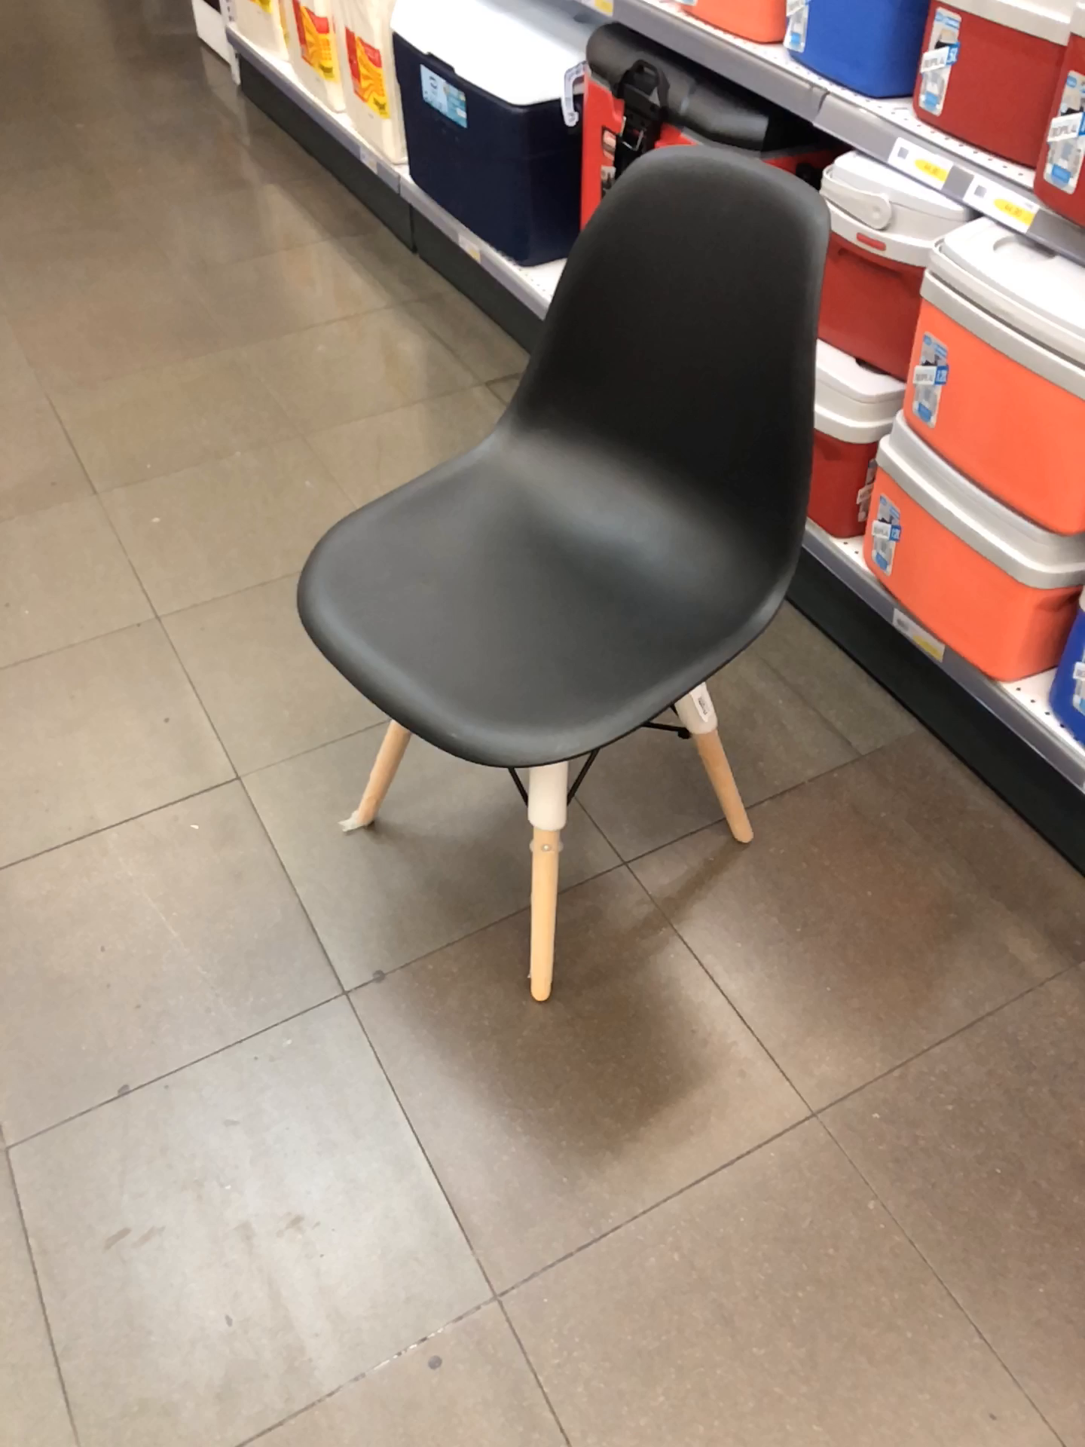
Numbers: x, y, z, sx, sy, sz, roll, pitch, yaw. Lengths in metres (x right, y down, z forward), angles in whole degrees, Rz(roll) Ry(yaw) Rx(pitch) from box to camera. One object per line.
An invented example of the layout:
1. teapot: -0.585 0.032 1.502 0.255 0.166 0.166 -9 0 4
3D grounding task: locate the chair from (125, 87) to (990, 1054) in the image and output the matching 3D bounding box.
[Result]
1. chair: 0.015 -0.169 1.277 0.552 0.724 0.502 -32 52 -28
